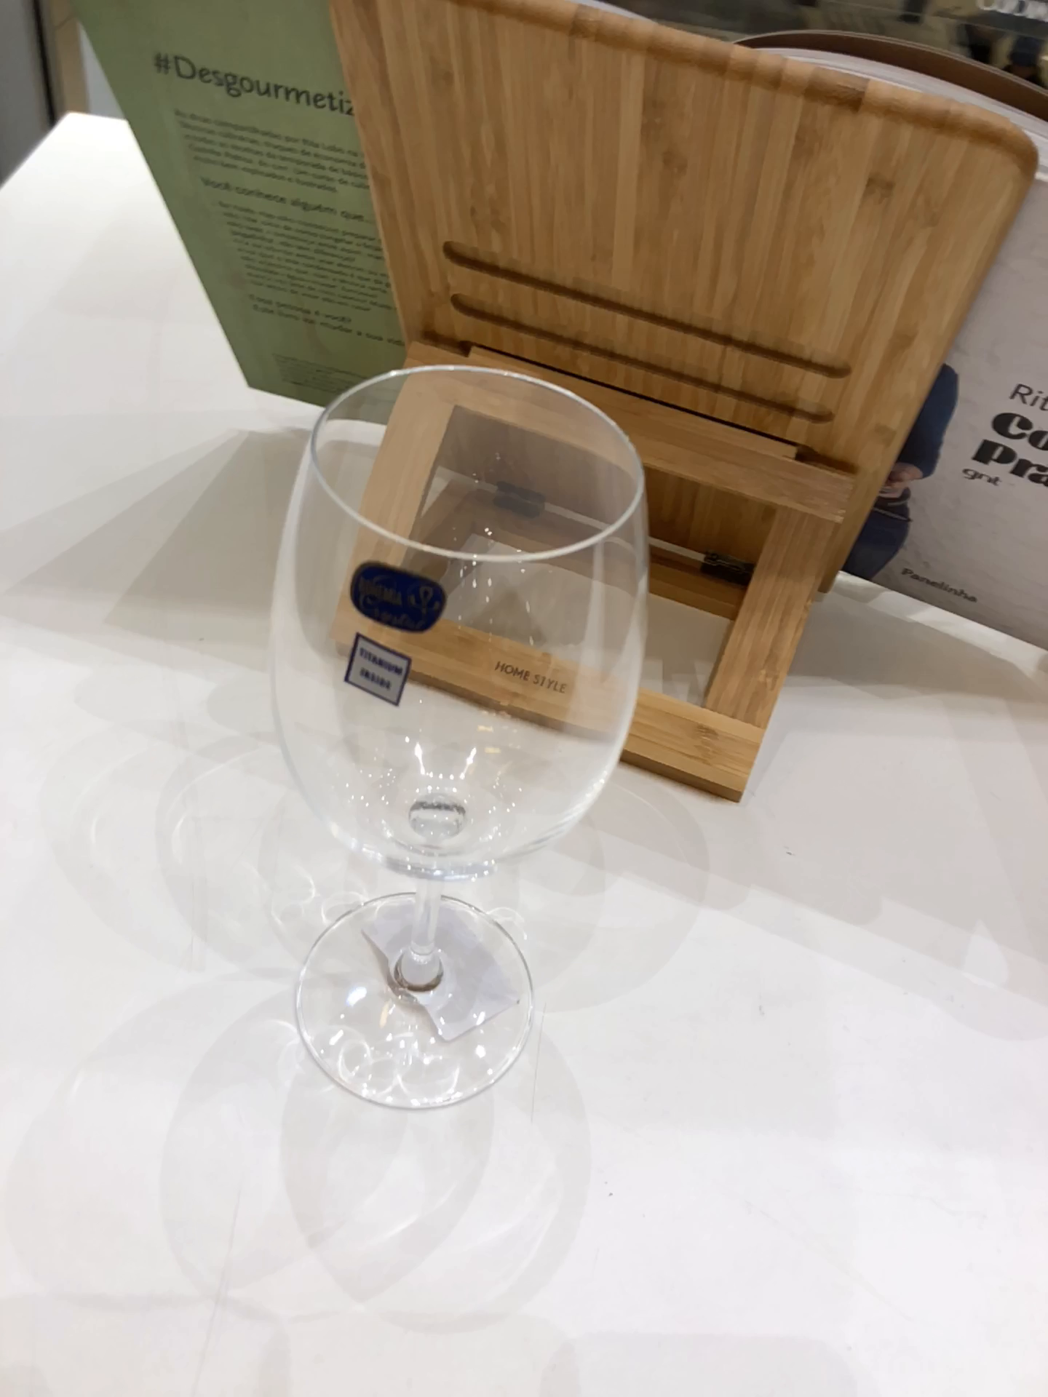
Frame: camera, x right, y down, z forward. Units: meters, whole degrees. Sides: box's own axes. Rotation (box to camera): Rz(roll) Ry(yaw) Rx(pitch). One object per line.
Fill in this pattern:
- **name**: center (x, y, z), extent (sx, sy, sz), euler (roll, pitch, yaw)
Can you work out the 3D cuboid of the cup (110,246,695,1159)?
- **cup**: center (-0.031, 0.021, 0.312), extent (0.100, 0.238, 0.091), euler (10, 44, -1)
